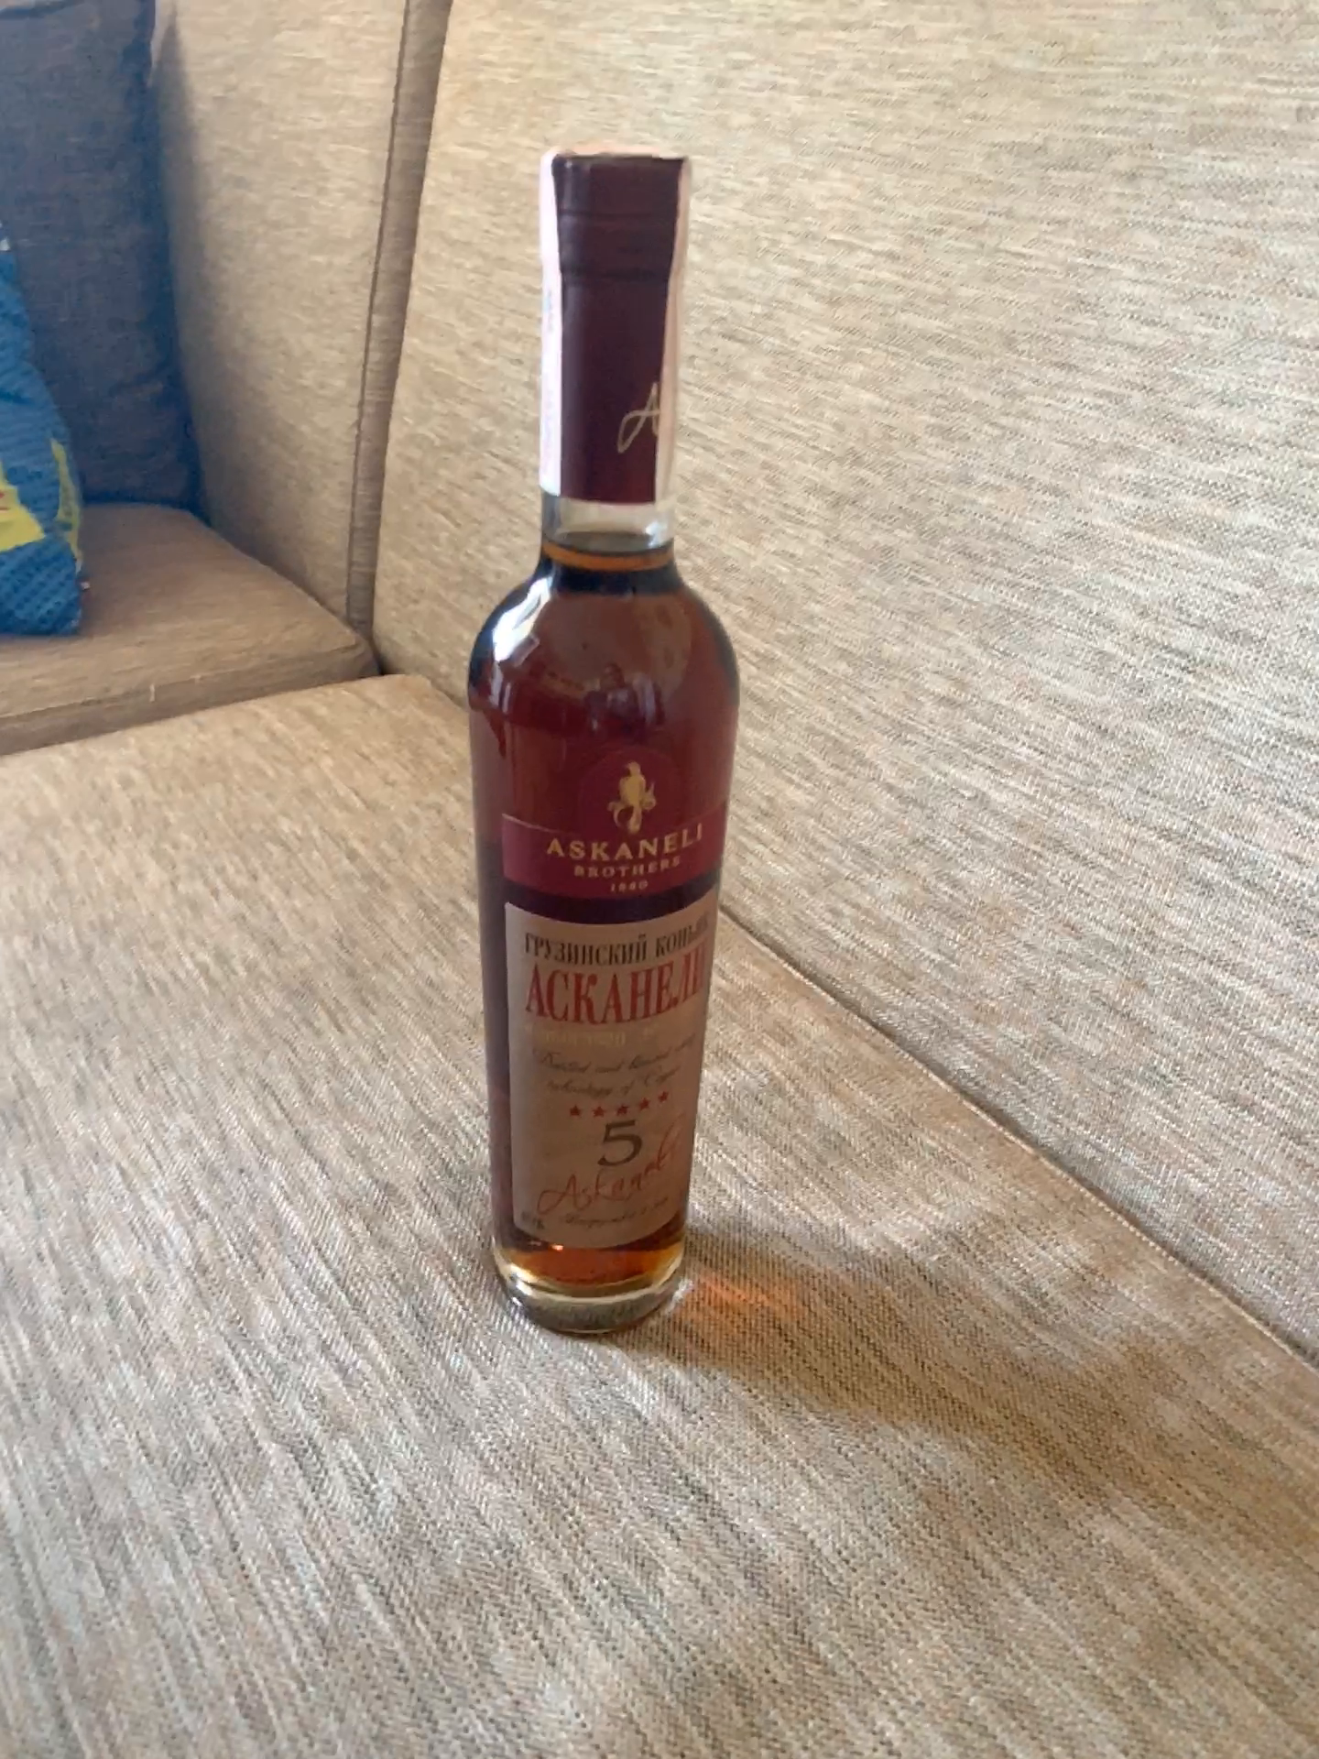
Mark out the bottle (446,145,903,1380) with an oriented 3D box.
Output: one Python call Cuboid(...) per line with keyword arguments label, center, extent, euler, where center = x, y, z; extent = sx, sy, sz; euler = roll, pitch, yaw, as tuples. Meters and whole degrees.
Cuboid(label="bottle", center=(-0.009, -0.010, 0.318), extent=(0.070, 0.279, 0.070), euler=(3, 30, -2))
